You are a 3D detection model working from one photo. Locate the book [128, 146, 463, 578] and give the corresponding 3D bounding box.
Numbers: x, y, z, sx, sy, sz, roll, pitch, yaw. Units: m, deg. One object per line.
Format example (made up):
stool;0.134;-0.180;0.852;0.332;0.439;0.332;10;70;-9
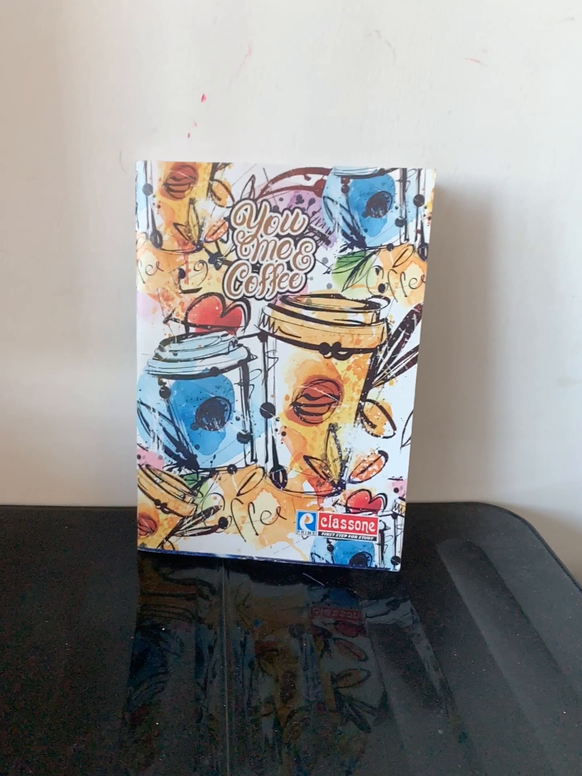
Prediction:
book;-0.006;-0.013;0.456;0.220;0.299;0.050;4;12;0
